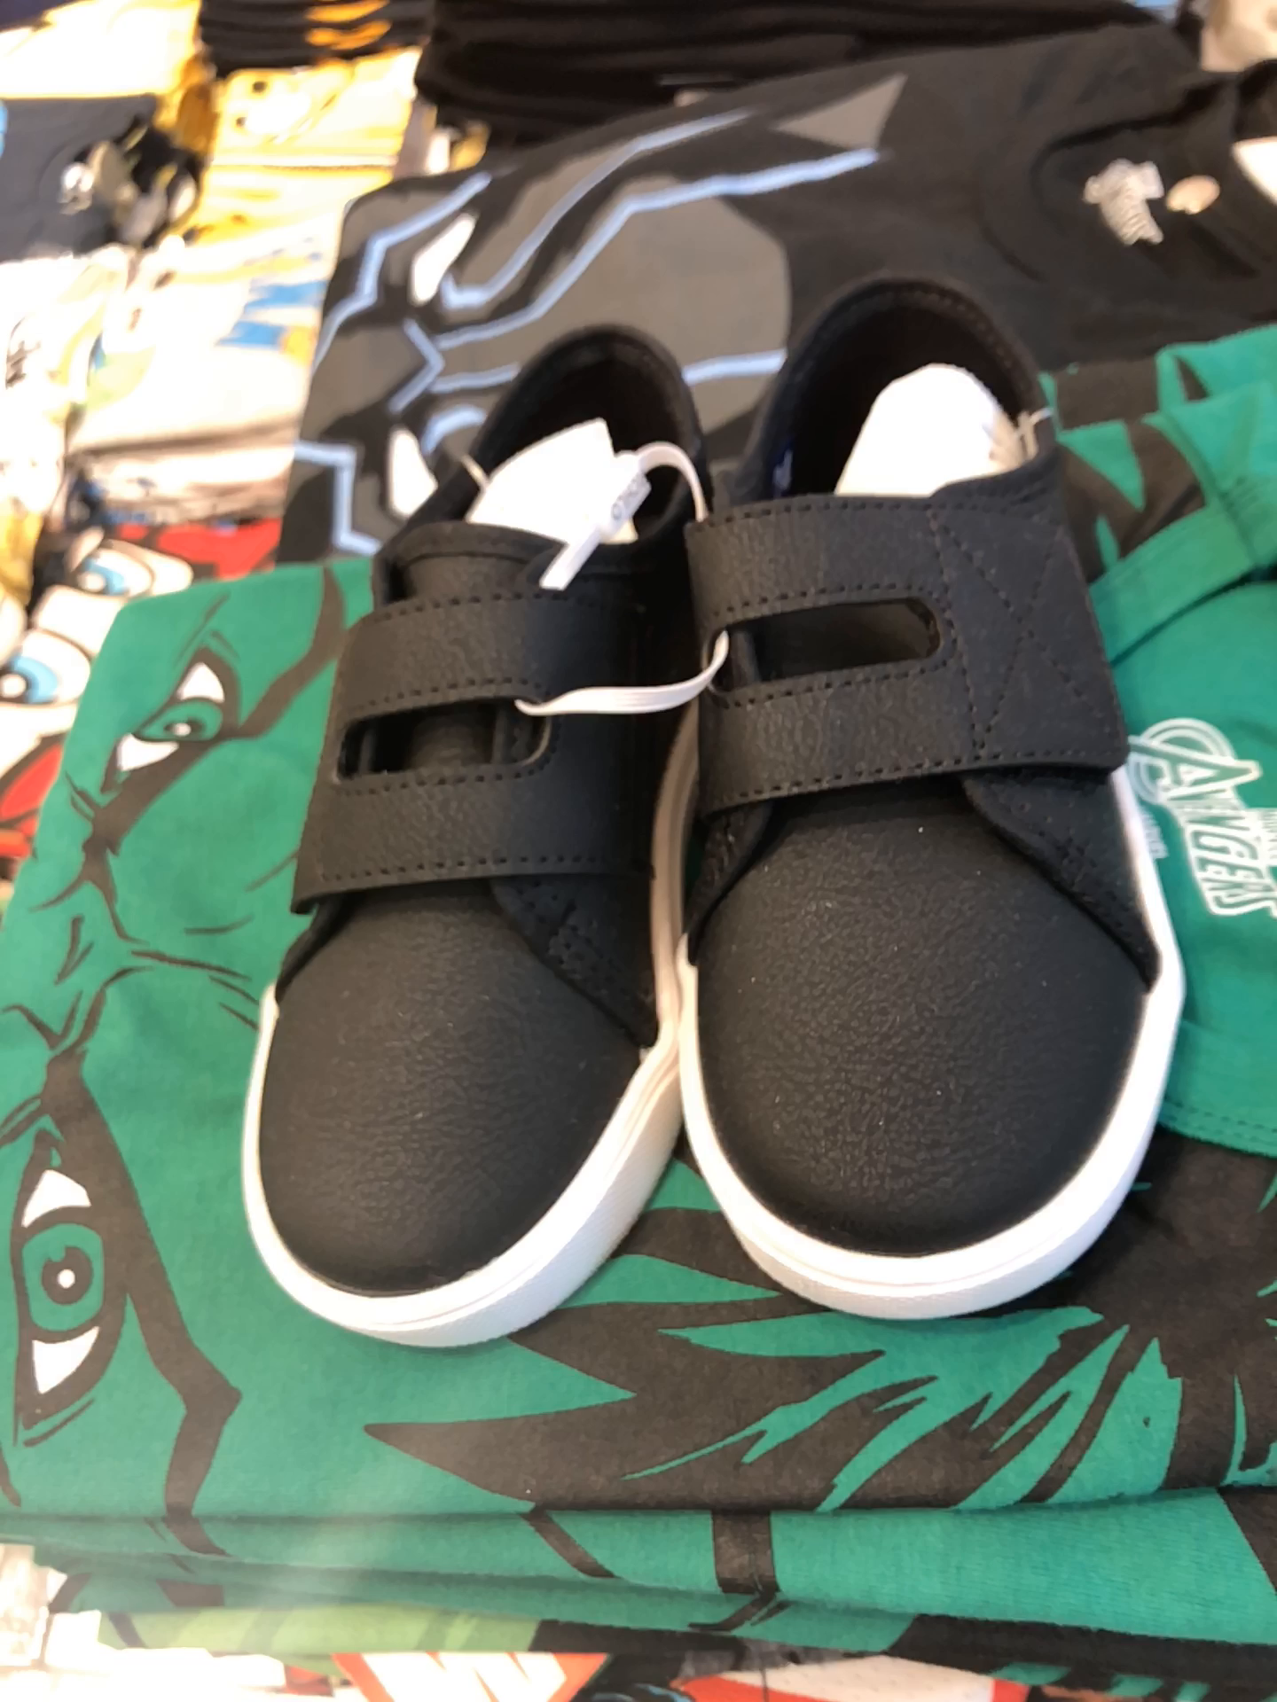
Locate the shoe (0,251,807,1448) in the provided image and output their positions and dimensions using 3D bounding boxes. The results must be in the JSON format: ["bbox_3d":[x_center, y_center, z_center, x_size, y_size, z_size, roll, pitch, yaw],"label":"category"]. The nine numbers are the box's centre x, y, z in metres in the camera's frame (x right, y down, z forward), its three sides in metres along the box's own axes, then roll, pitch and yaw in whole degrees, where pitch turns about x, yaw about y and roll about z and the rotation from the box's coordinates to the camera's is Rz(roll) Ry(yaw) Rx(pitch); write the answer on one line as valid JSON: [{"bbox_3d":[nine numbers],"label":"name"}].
[{"bbox_3d":[-0.024,-0.007,0.238,0.080,0.090,0.171,5,58,12],"label":"shoe"}]

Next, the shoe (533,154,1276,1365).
[{"bbox_3d":[0.045,-0.018,0.234,0.090,0.090,0.171,0,57,9],"label":"shoe"}]
